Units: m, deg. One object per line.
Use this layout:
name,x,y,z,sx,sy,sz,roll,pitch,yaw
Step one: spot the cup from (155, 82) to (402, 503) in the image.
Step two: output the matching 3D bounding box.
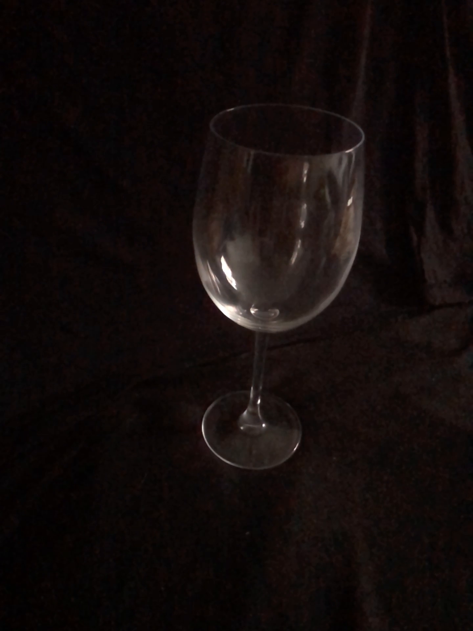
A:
cup,0.022,-0.002,0.366,0.103,0.266,0.101,2,41,-1
